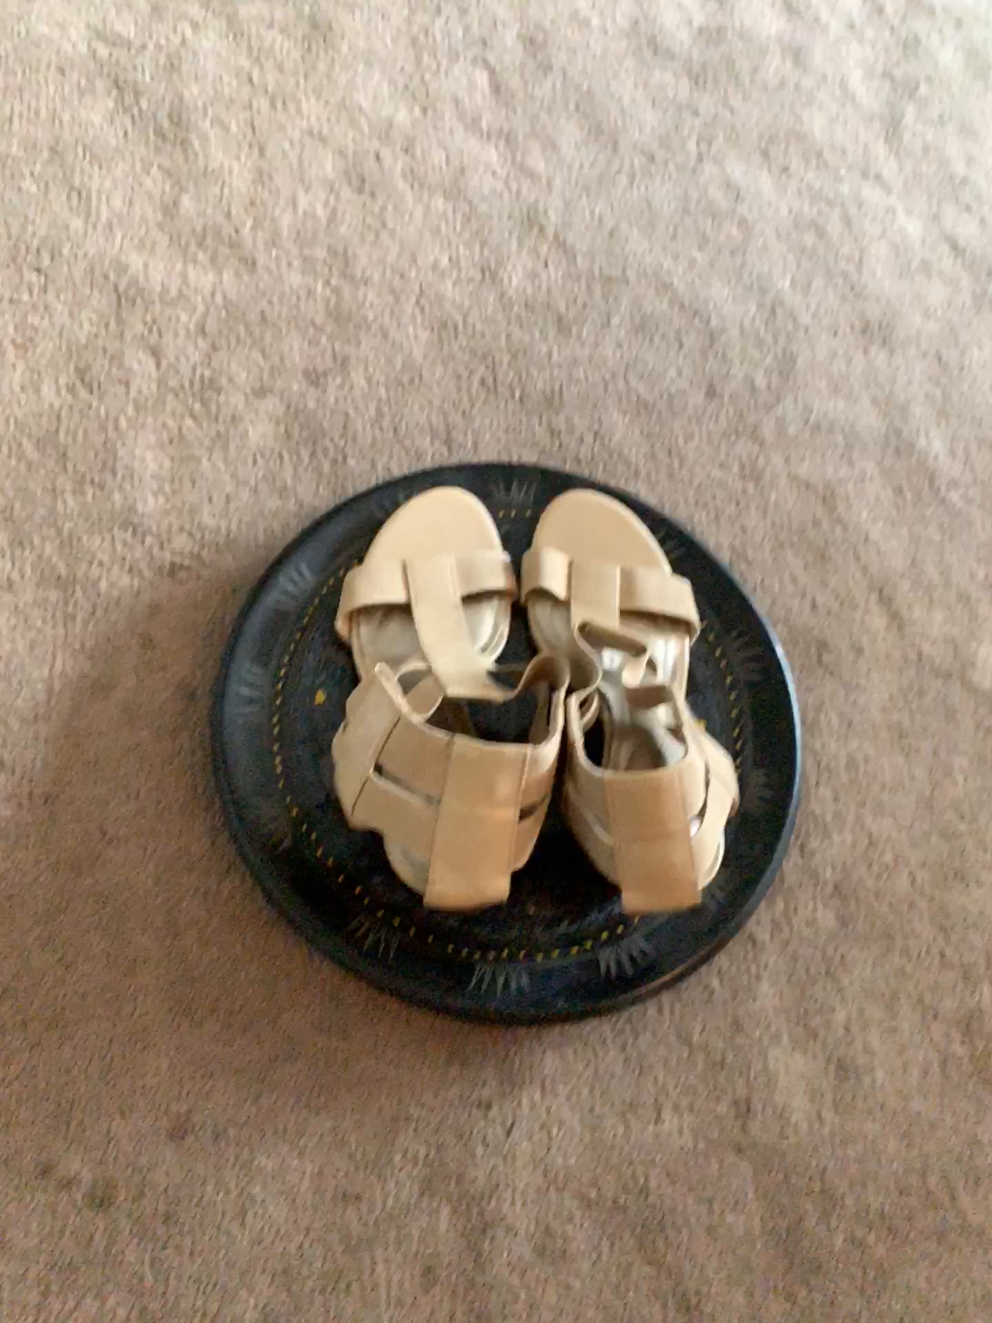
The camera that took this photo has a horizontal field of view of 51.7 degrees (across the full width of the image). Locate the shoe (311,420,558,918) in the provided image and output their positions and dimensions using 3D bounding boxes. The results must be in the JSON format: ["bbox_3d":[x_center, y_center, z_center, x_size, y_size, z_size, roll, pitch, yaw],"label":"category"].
[{"bbox_3d":[-0.030,-0.004,0.478,0.090,0.089,0.221,3,51,-6],"label":"shoe"}]

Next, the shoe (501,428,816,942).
[{"bbox_3d":[0.063,0.001,0.490,0.100,0.089,0.231,-5,51,-1],"label":"shoe"}]
